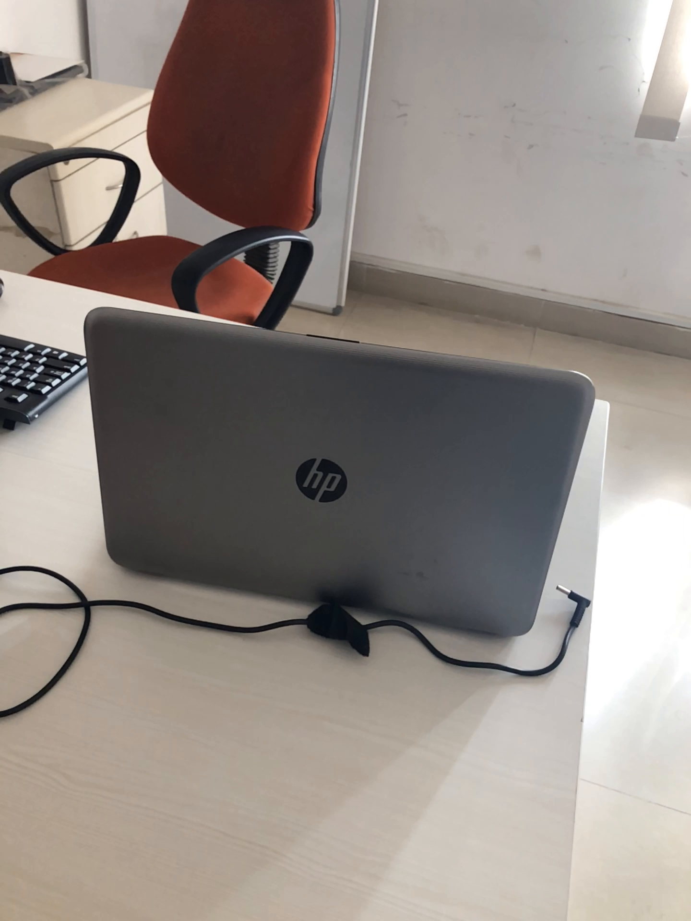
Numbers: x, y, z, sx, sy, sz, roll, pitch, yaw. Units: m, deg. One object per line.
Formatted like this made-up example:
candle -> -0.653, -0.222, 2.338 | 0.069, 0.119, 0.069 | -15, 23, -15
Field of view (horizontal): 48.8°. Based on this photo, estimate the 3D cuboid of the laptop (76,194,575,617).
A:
laptop -> -0.007, -0.056, 0.669 | 0.350, 0.226, 0.217 | 9, 44, 8
